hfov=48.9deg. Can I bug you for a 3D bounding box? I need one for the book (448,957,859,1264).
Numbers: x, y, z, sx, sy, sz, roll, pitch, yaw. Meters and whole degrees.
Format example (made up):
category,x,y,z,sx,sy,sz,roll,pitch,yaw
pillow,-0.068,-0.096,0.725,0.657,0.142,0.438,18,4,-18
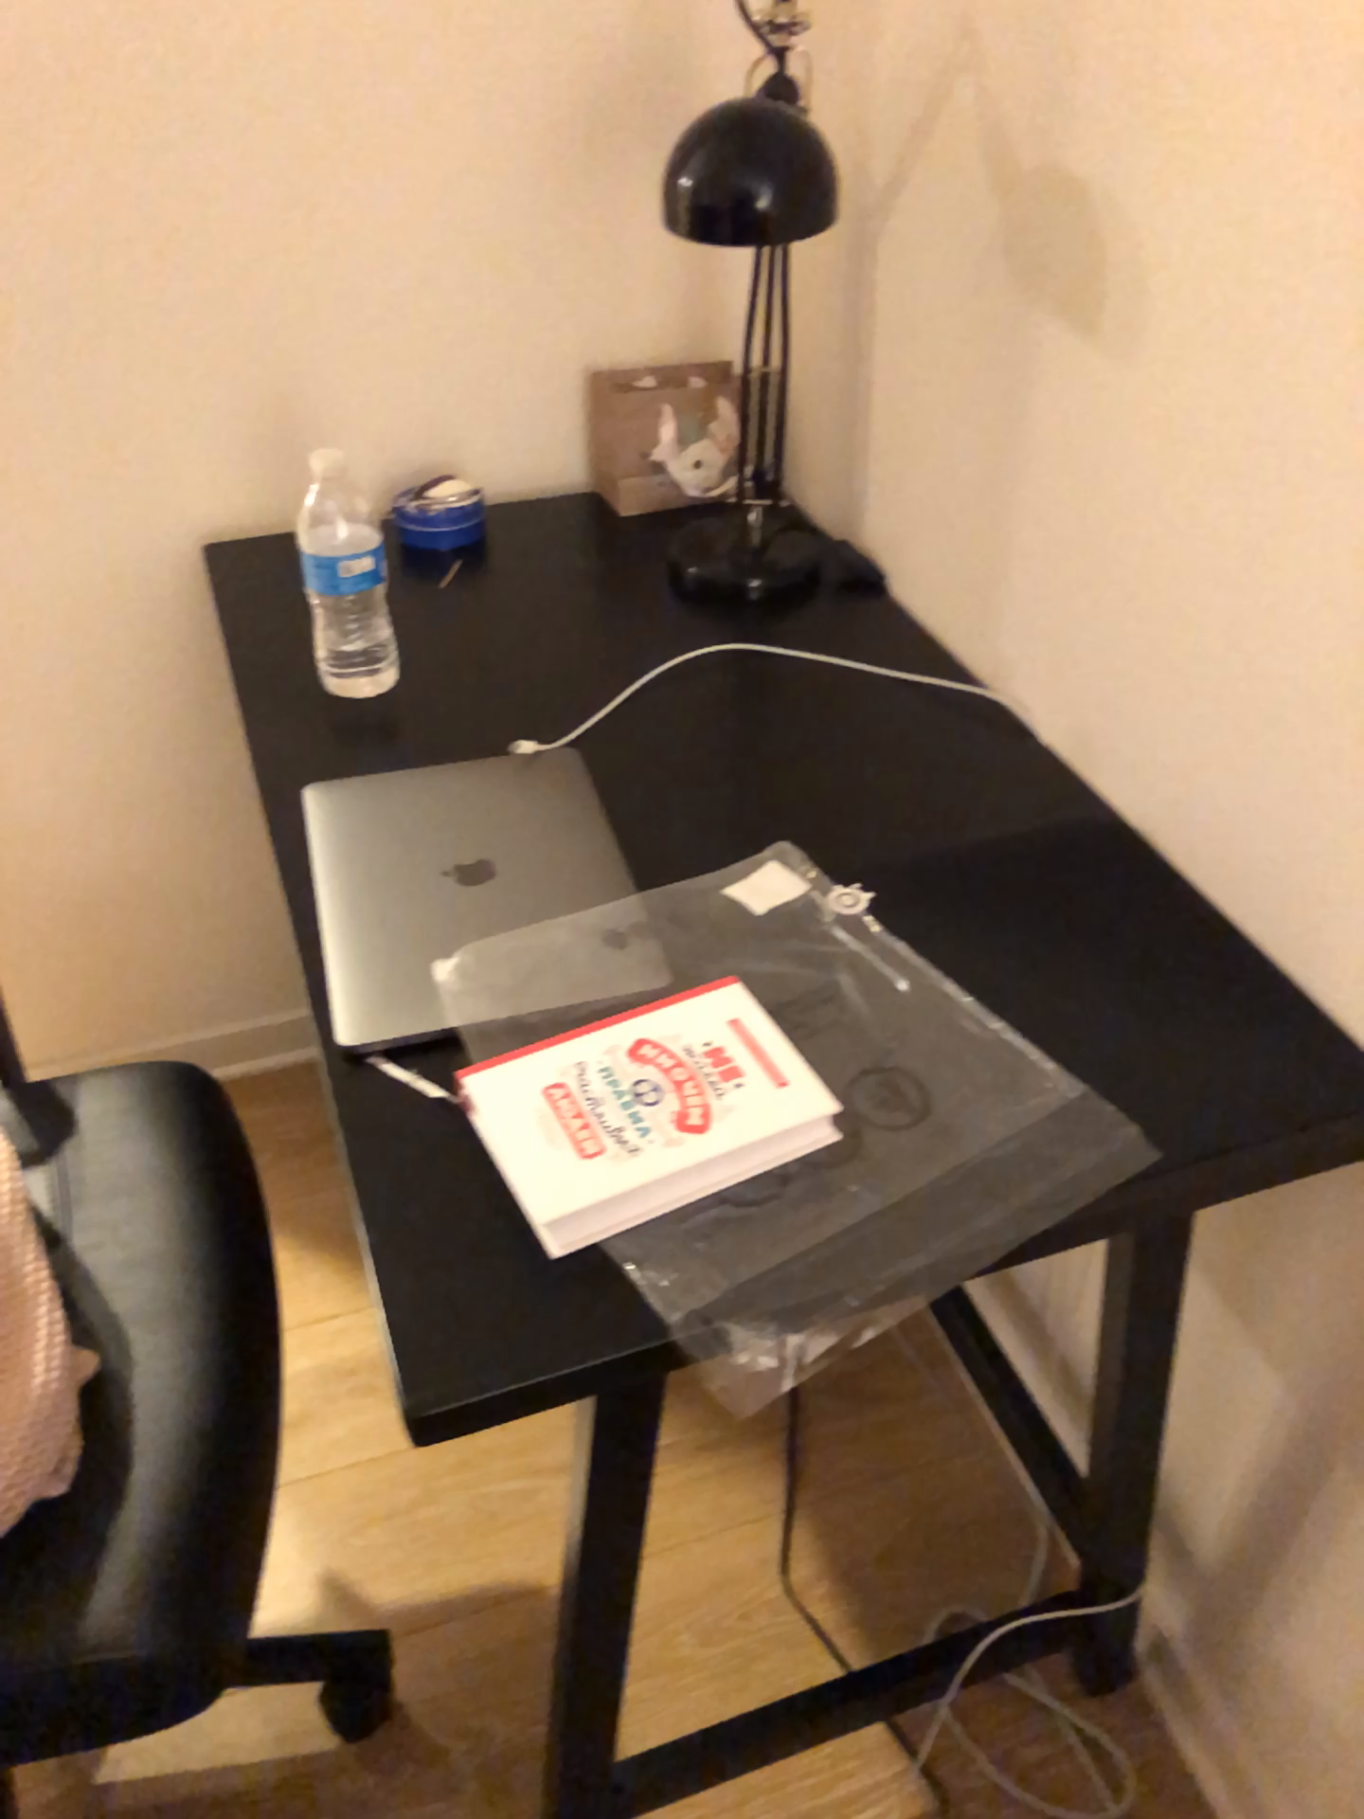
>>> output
category,x,y,z,sx,sy,sz,roll,pitch,yaw
book,-0.018,0.107,0.859,0.190,0.030,0.141,-19,41,-22
